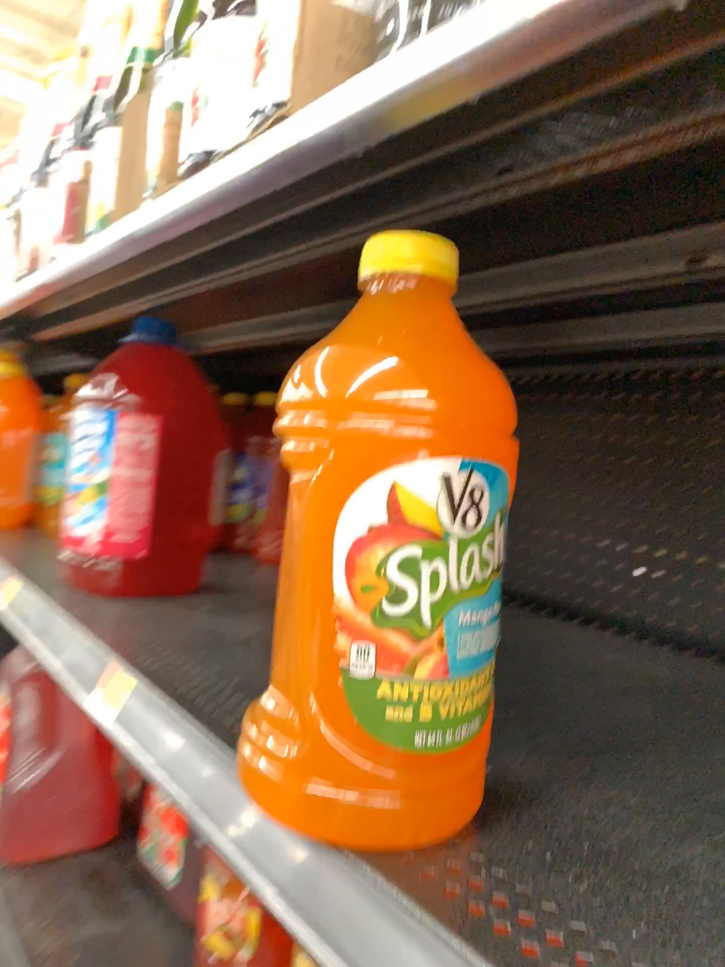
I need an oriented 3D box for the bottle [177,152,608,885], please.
[{"bbox_3d":[0.009,0.012,0.353,0.128,0.260,0.125,6,1,0],"label":"bottle"}]
